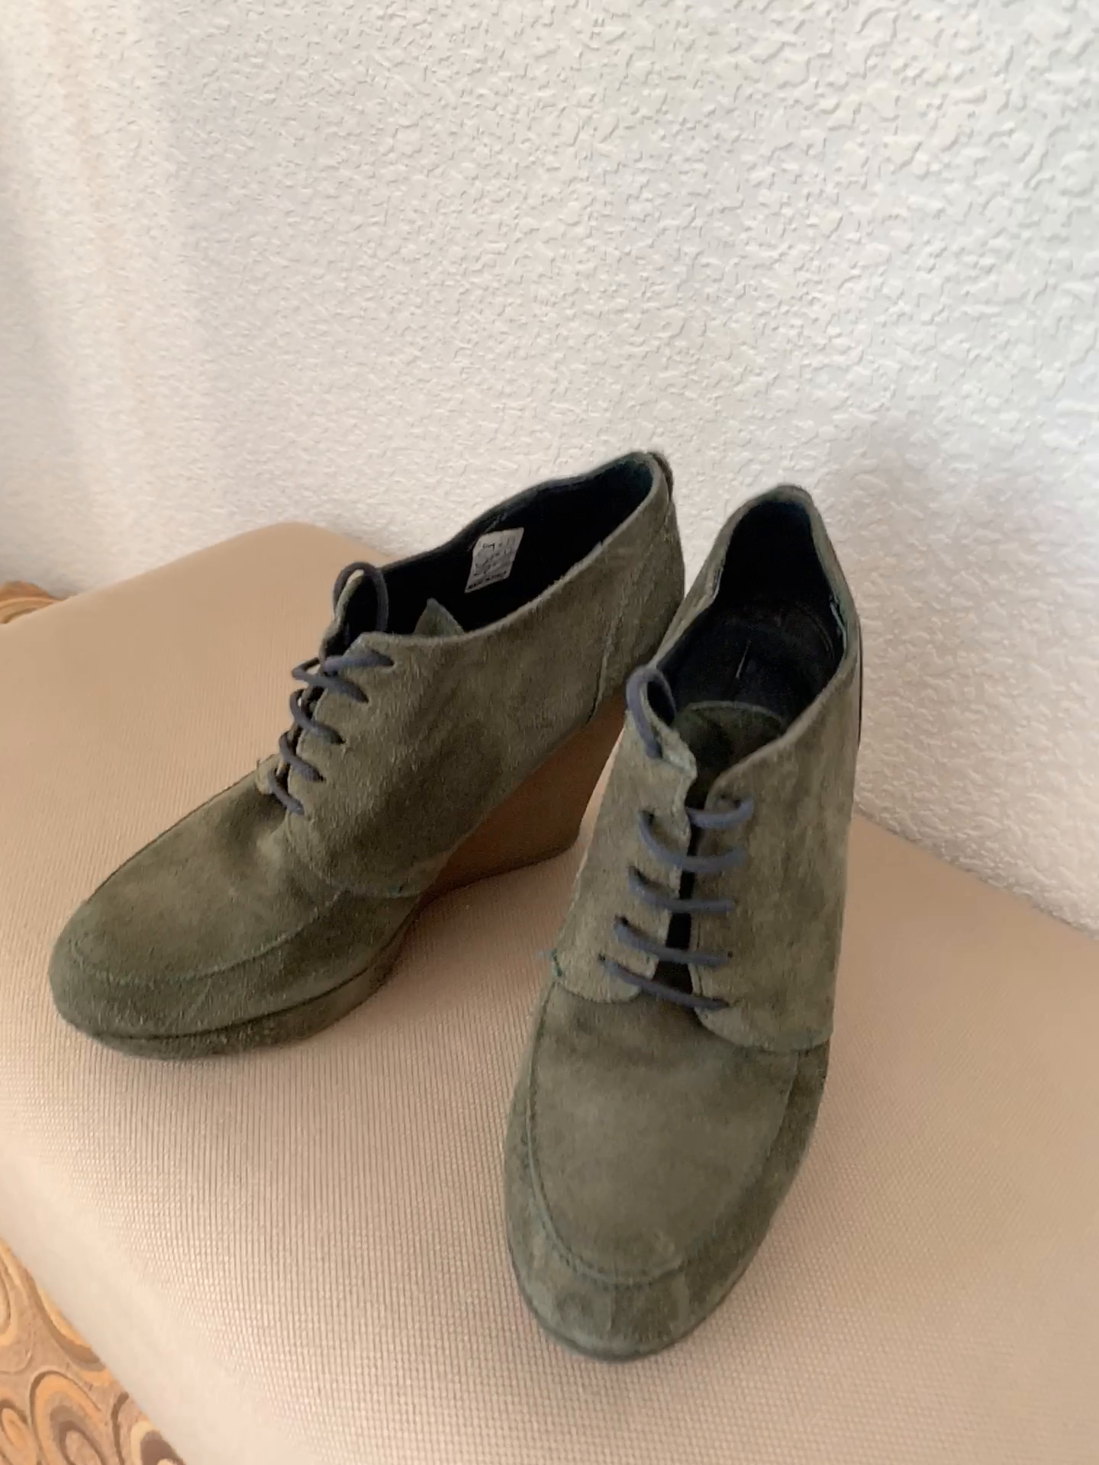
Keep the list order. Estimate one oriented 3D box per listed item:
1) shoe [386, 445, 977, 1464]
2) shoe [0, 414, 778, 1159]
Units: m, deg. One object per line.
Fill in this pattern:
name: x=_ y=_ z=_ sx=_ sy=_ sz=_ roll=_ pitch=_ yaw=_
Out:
shoe: x=0.054 y=0.045 z=0.336 sx=0.080 sy=0.139 sz=0.271 roll=15 pitch=43 yaw=14
shoe: x=-0.052 y=0.007 z=0.359 sx=0.230 sy=0.136 sz=0.087 roll=-24 pitch=48 yaw=-26
